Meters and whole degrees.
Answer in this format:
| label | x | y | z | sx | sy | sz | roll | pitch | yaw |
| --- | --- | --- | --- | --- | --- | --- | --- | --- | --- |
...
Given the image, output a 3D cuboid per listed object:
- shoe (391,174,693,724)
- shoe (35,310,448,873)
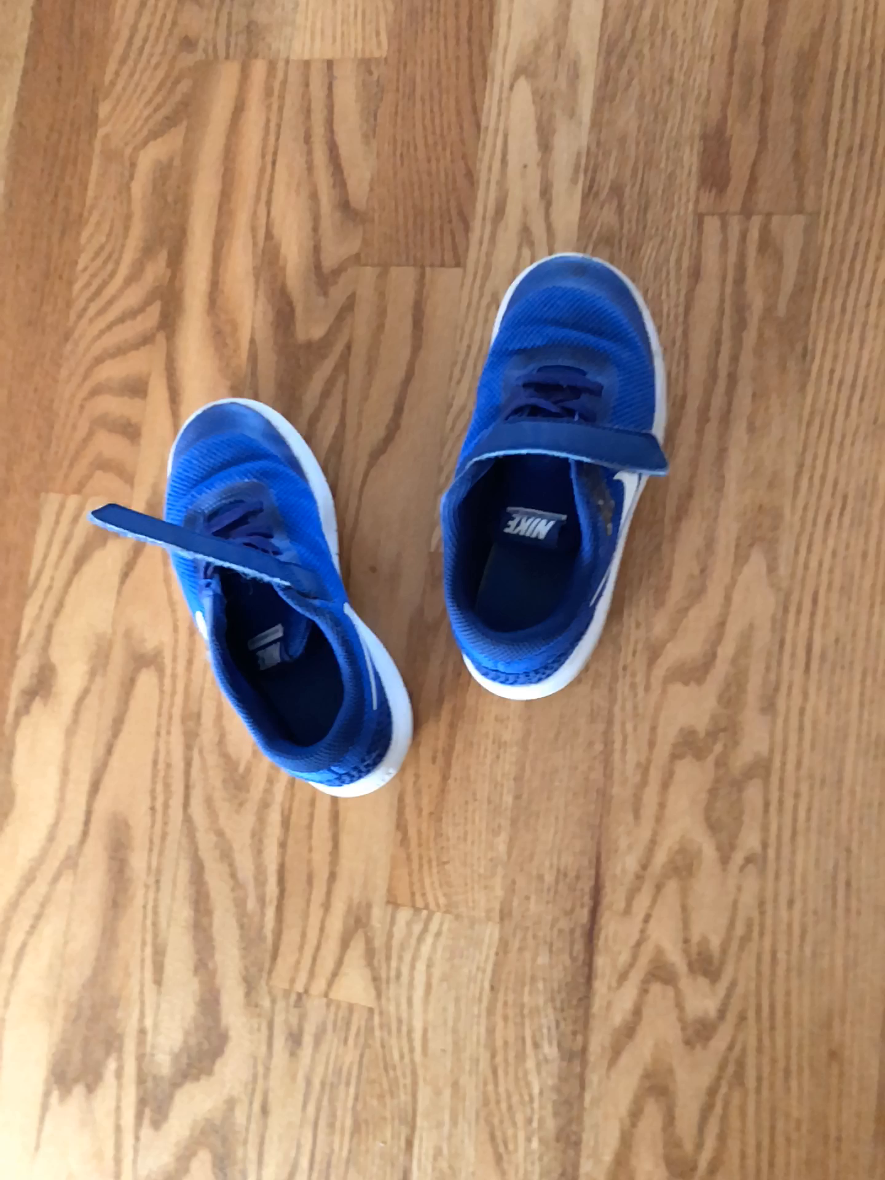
| label | x | y | z | sx | sy | sz | roll | pitch | yaw |
| --- | --- | --- | --- | --- | --- | --- | --- | --- | --- |
| shoe | 0.049 | -0.056 | 0.428 | 0.093 | 0.092 | 0.214 | 6 | 85 | 14 |
| shoe | -0.089 | 0.002 | 0.447 | 0.093 | 0.092 | 0.214 | -24 | 79 | 9 |
